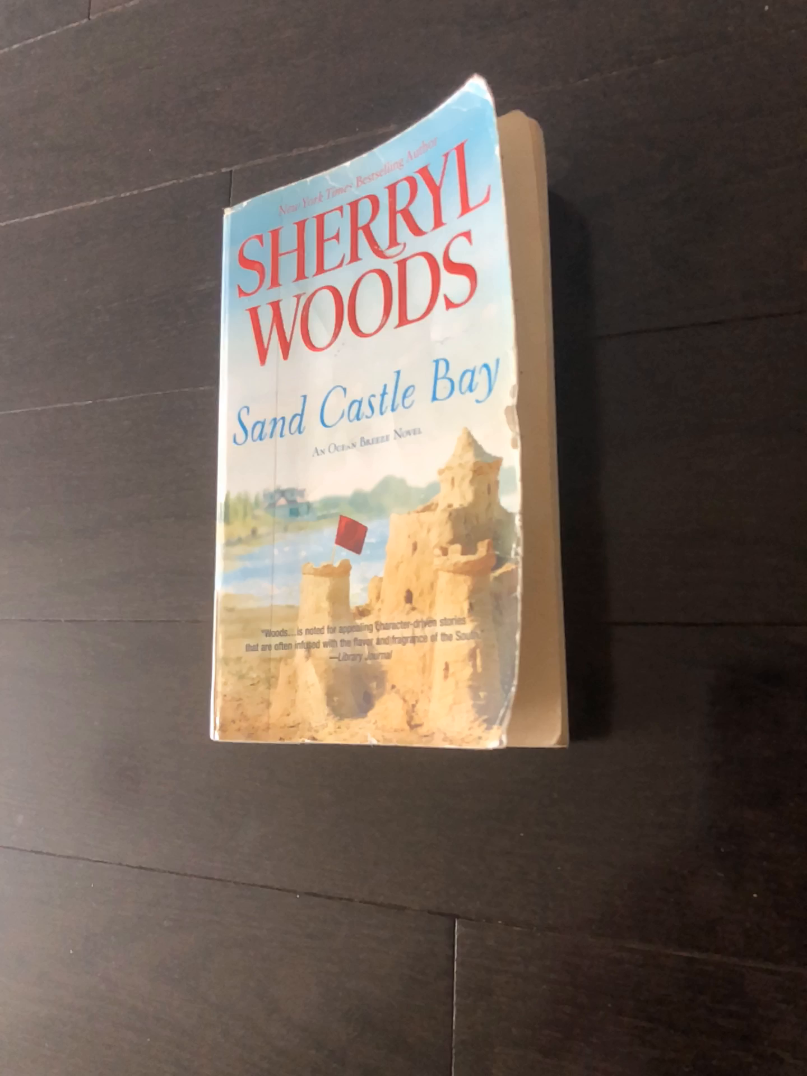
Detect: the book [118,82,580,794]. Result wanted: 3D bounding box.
[{"bbox_3d":[-0.018,-0.020,0.243,0.120,0.037,0.161,-4,83,28],"label":"book"}]
